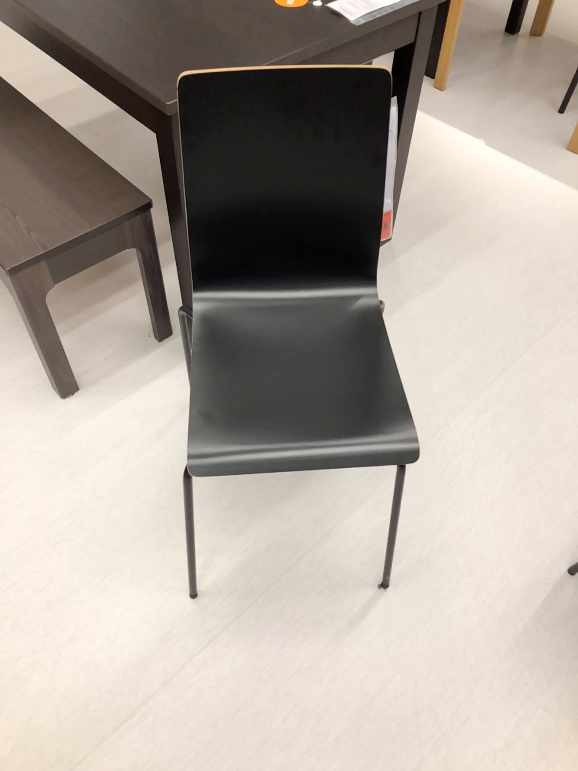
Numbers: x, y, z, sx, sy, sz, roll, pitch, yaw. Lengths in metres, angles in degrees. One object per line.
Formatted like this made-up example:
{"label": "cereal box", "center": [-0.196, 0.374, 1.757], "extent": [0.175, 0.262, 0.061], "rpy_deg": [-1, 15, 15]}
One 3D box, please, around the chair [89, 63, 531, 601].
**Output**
{"label": "chair", "center": [0.002, -0.034, 1.125], "extent": [0.450, 0.805, 0.533], "rpy_deg": [-2, 52, -3]}
